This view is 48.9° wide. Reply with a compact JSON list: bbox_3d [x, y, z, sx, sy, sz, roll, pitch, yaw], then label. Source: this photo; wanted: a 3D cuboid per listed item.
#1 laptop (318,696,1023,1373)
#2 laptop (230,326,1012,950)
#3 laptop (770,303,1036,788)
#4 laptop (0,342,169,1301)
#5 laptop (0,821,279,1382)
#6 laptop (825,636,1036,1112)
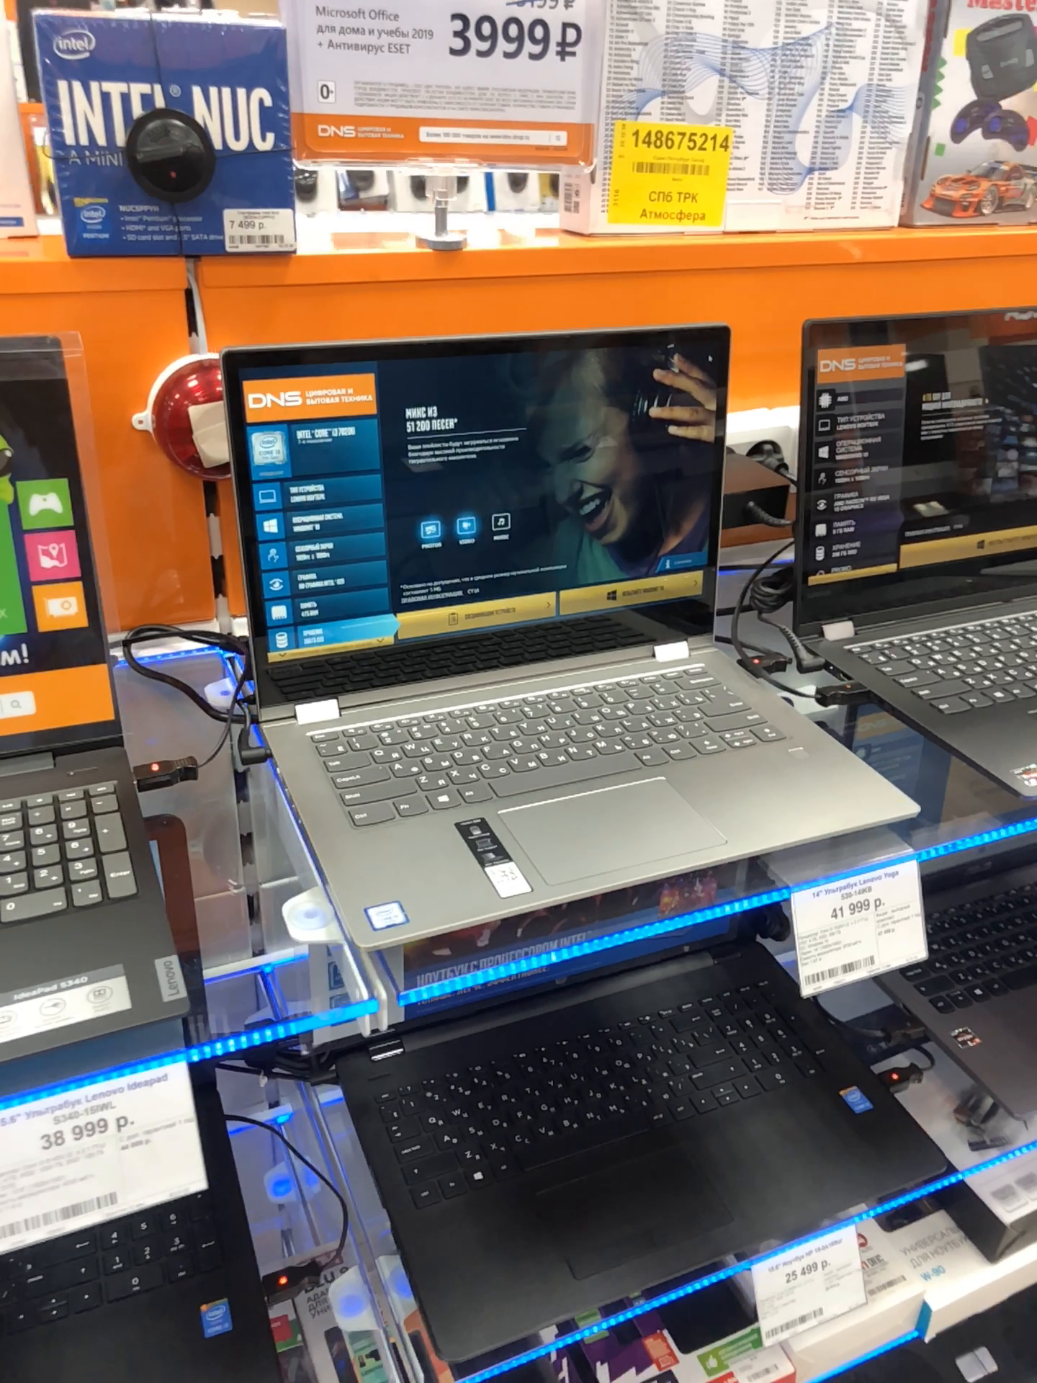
[{"bbox_3d":[0.081,0.193,0.765,0.368,0.207,0.264,-11,31,-21],"label":"laptop"},{"bbox_3d":[0.033,-0.057,0.615,0.315,0.212,0.239,-10,30,-20],"label":"laptop"},{"bbox_3d":[0.376,-0.116,0.743,0.290,0.209,0.248,-10,30,-20],"label":"laptop"},{"bbox_3d":[-0.335,-0.002,0.462,0.305,0.212,0.279,-10,31,-25],"label":"laptop"},{"bbox_3d":[-0.348,0.271,0.605,0.379,0.235,0.239,-10,30,-20],"label":"laptop"},{"bbox_3d":[0.461,0.125,0.909,0.309,0.213,0.238,-11,29,-18],"label":"laptop"}]
